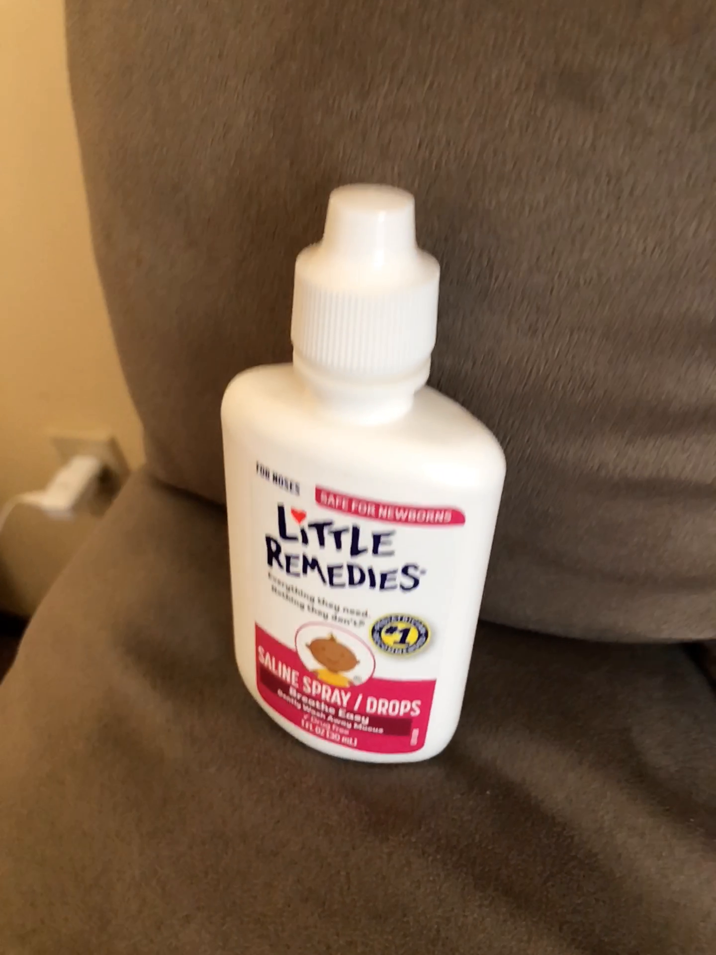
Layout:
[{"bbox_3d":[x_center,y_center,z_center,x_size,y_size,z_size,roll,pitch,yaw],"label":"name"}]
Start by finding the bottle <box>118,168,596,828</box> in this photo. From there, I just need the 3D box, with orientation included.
[{"bbox_3d":[0.002,0.008,0.147,0.060,0.110,0.030,16,41,24],"label":"bottle"}]
